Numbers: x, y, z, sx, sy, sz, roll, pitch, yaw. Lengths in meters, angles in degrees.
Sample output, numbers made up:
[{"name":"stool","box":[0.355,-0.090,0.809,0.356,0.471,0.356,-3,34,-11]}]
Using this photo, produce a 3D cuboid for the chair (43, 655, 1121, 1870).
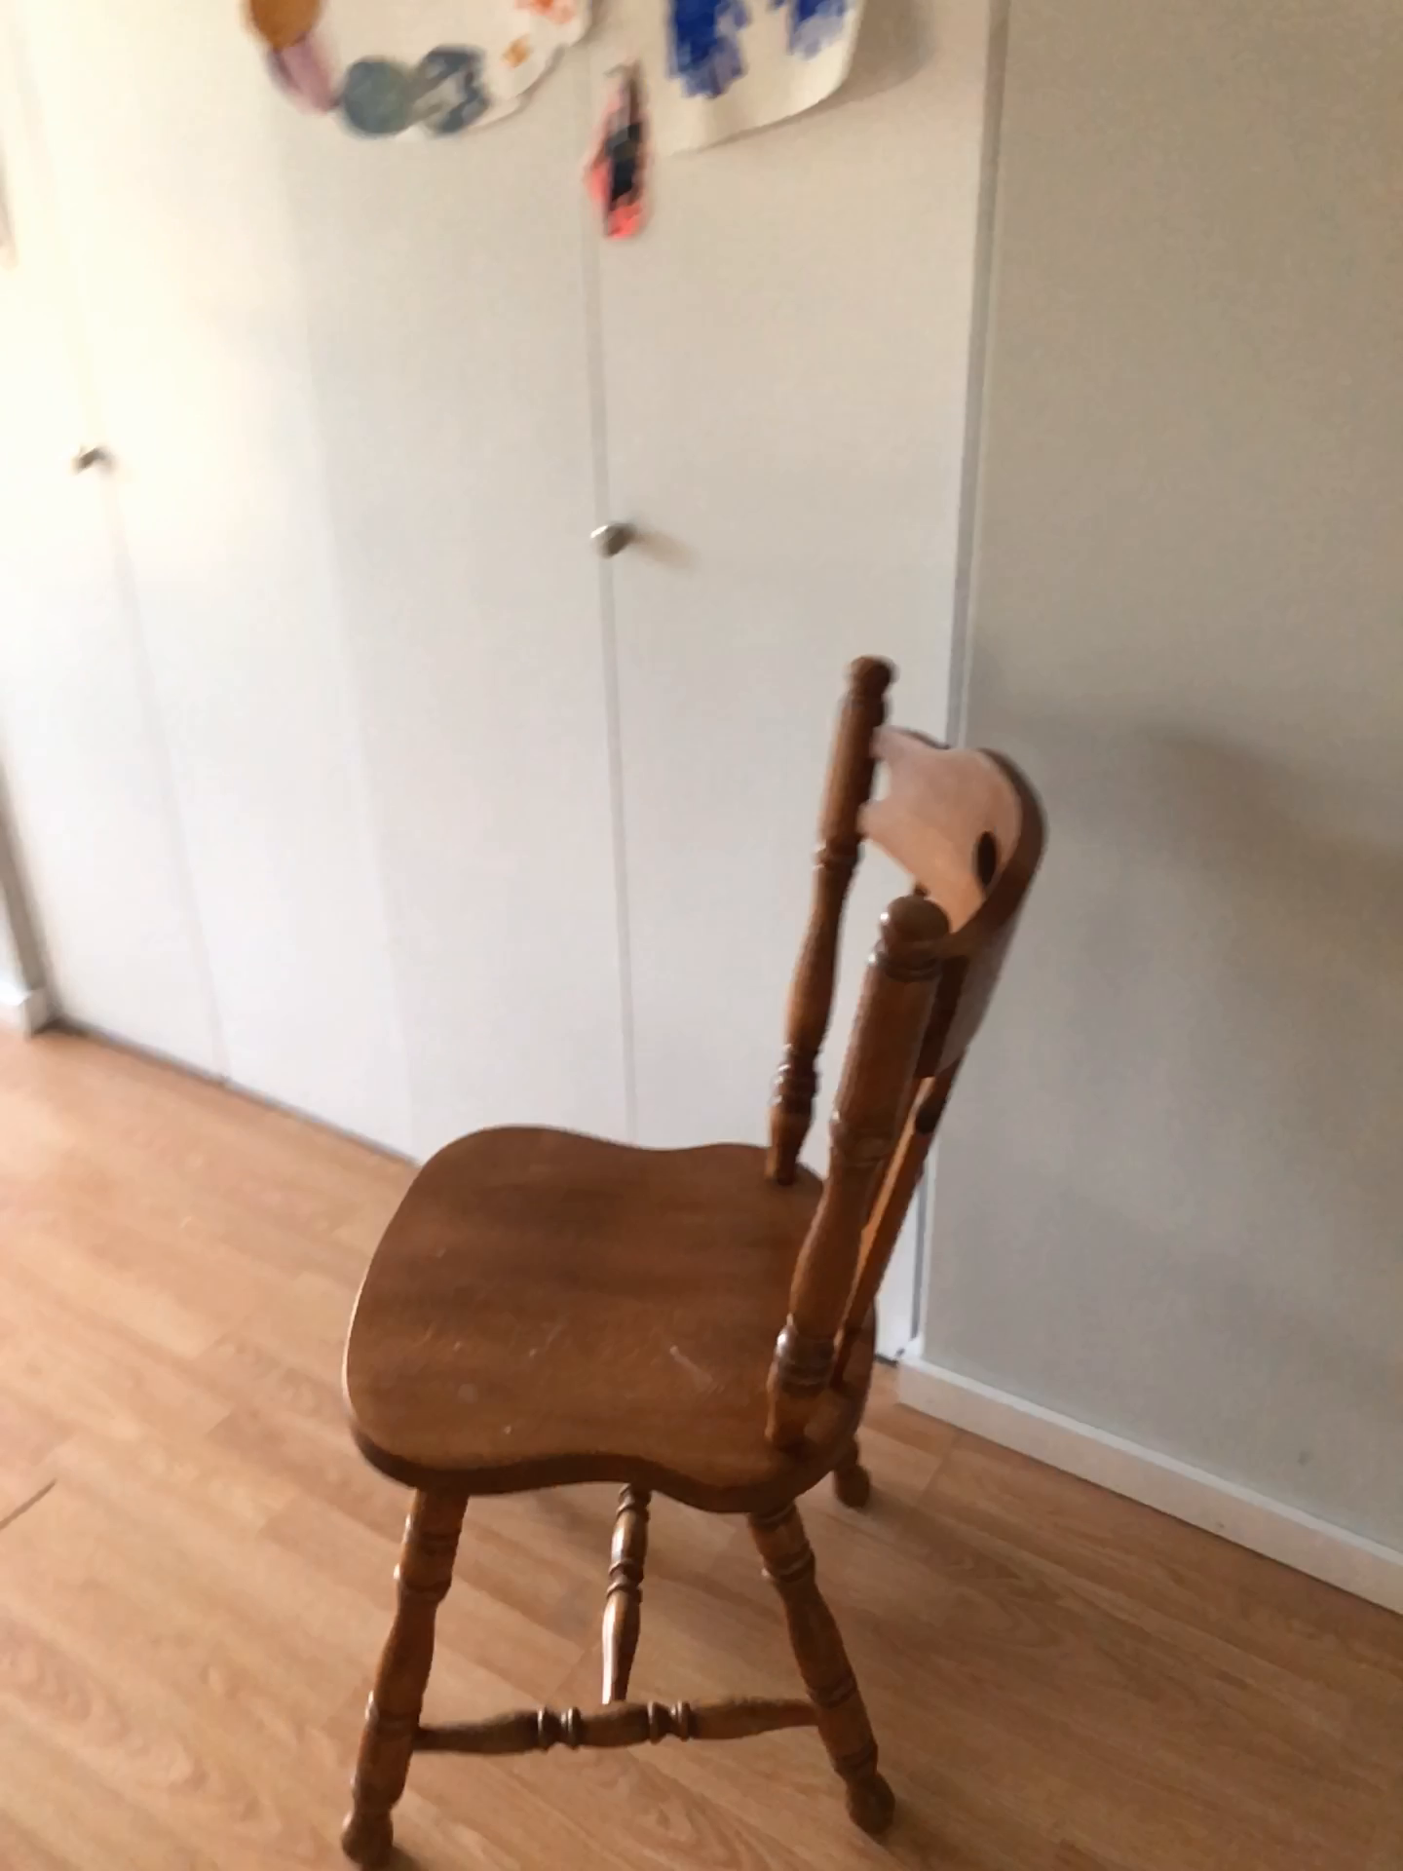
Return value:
[{"name":"chair","box":[-0.051,0.251,1.277,0.590,0.817,0.562,1,28,3]}]
